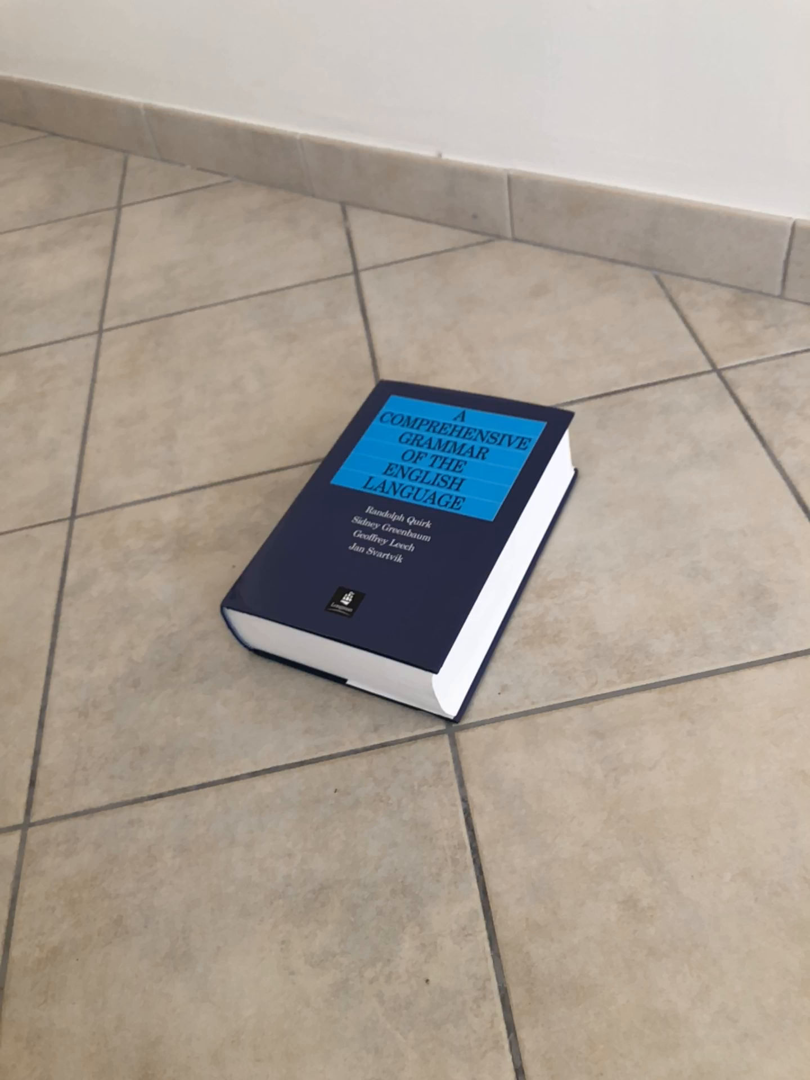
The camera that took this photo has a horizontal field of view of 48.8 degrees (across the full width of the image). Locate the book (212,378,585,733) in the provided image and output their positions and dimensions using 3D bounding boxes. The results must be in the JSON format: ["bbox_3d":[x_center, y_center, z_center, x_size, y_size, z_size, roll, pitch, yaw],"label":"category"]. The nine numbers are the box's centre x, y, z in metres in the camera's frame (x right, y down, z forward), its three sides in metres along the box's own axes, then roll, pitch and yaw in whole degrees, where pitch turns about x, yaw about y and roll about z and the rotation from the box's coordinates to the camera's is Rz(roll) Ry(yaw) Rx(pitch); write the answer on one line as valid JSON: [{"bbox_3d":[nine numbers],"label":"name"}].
[{"bbox_3d":[0.007,-0.005,0.680,0.180,0.066,0.258,14,53,25],"label":"book"}]
